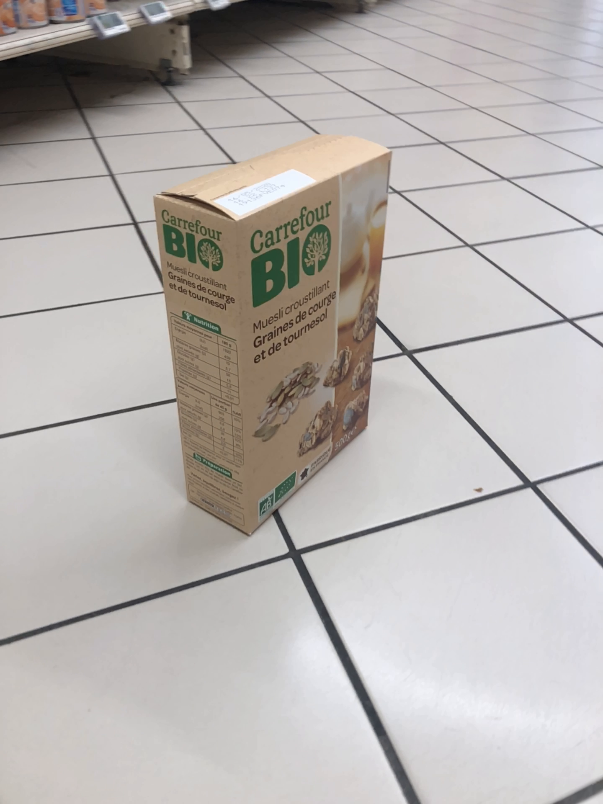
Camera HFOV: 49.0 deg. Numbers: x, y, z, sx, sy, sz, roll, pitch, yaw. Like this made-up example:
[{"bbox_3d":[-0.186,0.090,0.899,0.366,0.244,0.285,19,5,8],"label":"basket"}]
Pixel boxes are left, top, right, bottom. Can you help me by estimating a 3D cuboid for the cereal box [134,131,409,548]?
[{"bbox_3d":[-0.012,-0.045,0.458,0.070,0.229,0.171,25,42,28],"label":"cereal box"}]
